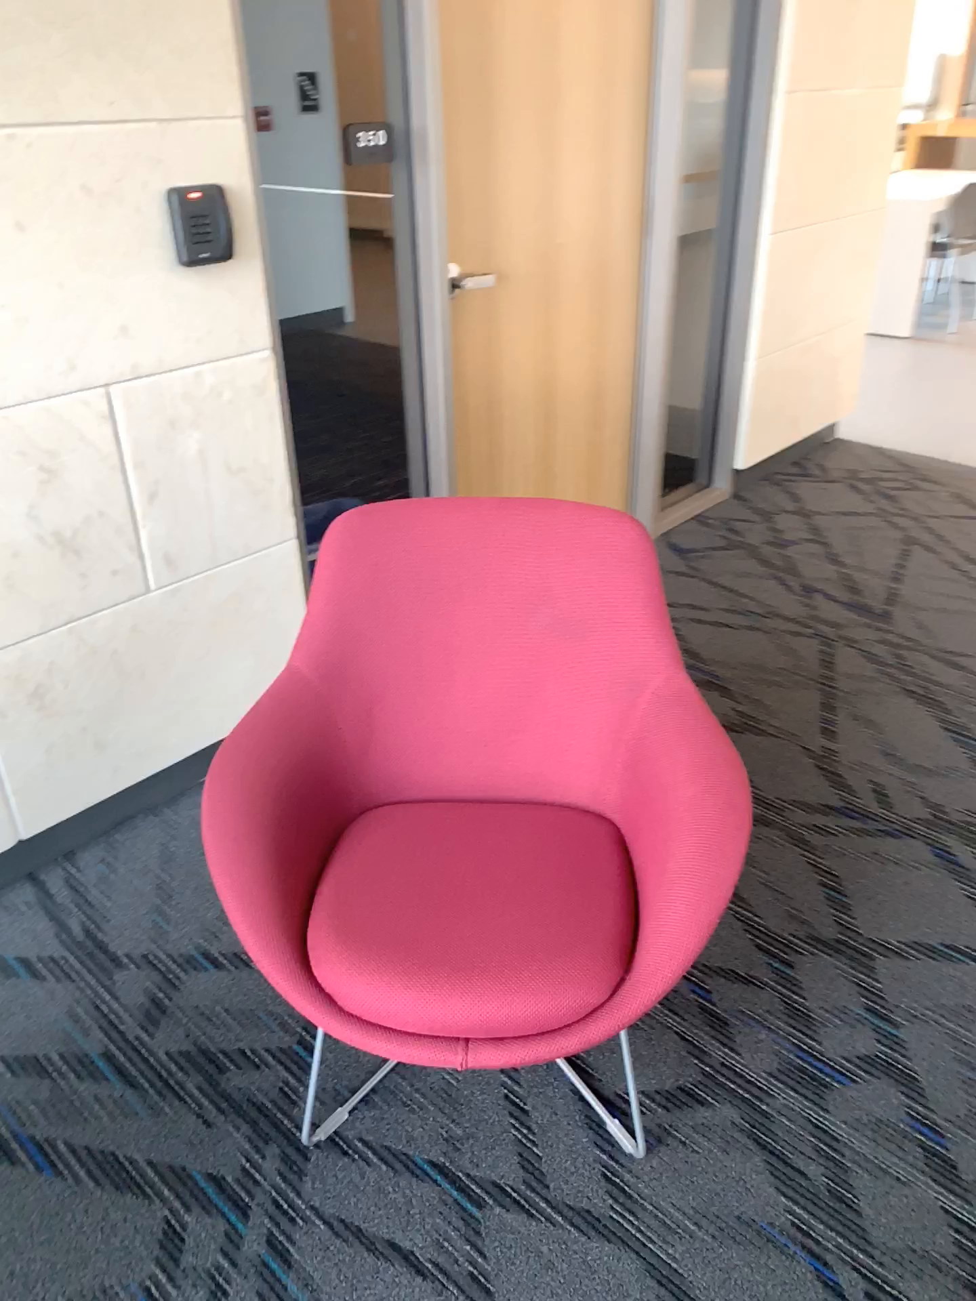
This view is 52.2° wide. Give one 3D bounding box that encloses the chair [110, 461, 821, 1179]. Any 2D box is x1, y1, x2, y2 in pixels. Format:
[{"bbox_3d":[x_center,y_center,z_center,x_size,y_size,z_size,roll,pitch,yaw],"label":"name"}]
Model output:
[{"bbox_3d":[-0.001,0.200,1.409,0.690,0.754,0.615,1,29,4],"label":"chair"}]
